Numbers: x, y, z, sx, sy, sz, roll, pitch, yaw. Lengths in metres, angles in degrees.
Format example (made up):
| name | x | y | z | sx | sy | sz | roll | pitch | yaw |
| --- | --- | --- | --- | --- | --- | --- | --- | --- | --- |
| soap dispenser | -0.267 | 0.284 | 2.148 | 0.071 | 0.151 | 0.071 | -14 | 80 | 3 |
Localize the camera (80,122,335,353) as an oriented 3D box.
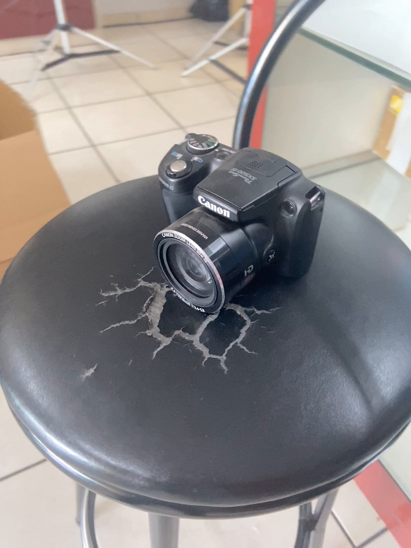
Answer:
| name | x | y | z | sx | sy | sz | roll | pitch | yaw |
| --- | --- | --- | --- | --- | --- | --- | --- | --- | --- |
| camera | 0.001 | -0.030 | 0.262 | 0.110 | 0.070 | 0.090 | 29 | 50 | 28 |
